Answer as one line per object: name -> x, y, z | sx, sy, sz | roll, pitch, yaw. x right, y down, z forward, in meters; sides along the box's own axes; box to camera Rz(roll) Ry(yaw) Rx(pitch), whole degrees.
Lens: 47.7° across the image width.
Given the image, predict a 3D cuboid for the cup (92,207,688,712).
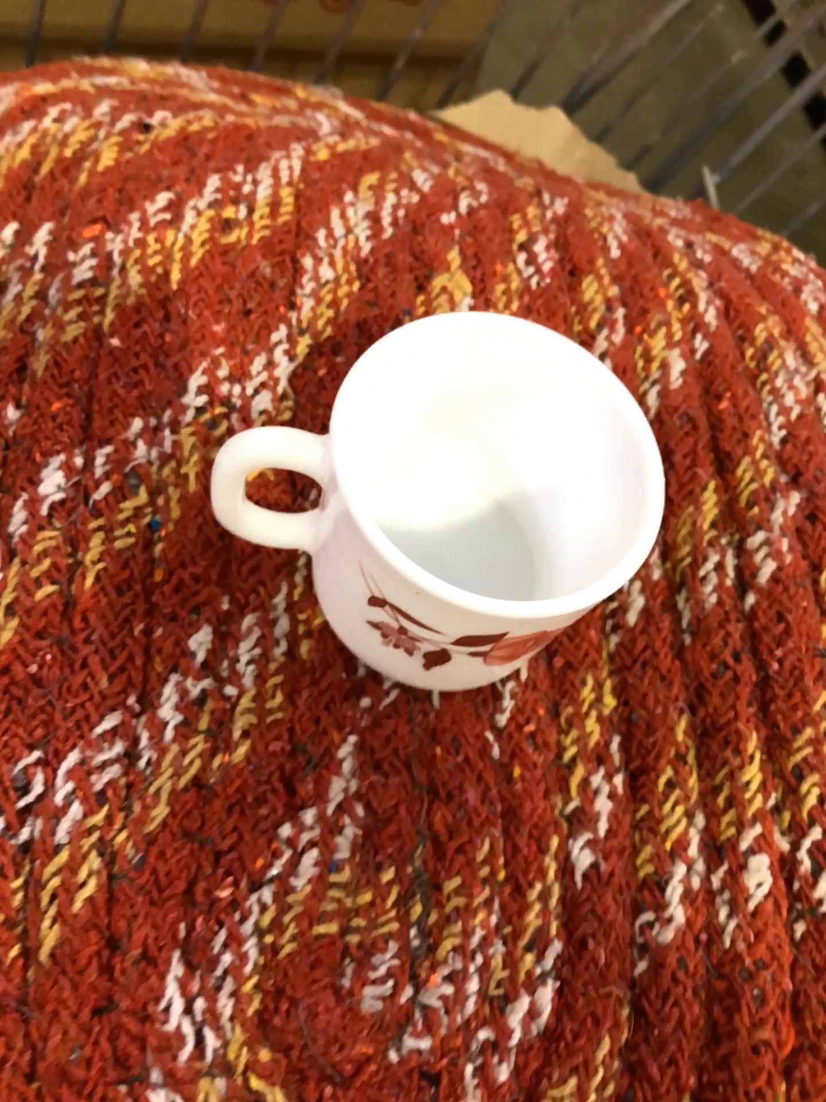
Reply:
cup -> -0.006, -0.012, 0.178 | 0.090, 0.060, 0.060 | 8, 62, -9
